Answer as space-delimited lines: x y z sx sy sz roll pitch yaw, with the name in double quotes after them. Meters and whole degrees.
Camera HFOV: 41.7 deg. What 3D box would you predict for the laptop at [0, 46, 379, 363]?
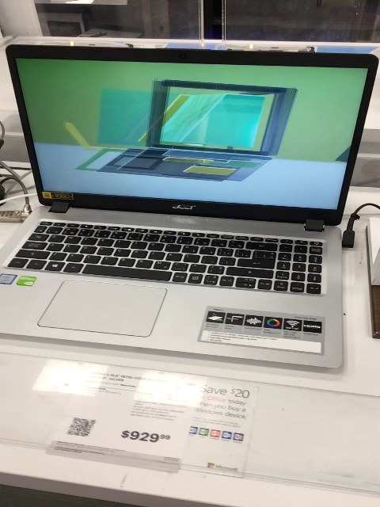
-0.032 -0.068 0.541 0.415 0.221 0.276 5 45 9 "laptop"
